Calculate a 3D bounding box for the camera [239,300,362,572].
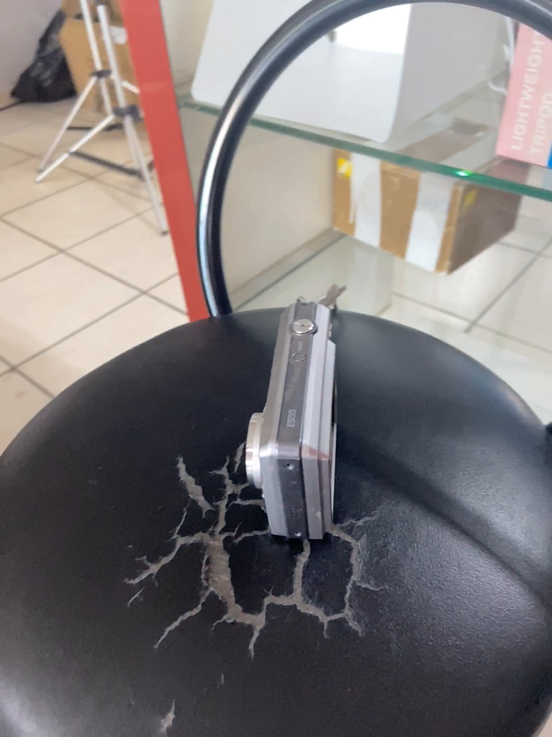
[{"bbox_3d":[0.015,0.026,0.246,0.040,0.070,0.091,2,41,8],"label":"camera"}]
